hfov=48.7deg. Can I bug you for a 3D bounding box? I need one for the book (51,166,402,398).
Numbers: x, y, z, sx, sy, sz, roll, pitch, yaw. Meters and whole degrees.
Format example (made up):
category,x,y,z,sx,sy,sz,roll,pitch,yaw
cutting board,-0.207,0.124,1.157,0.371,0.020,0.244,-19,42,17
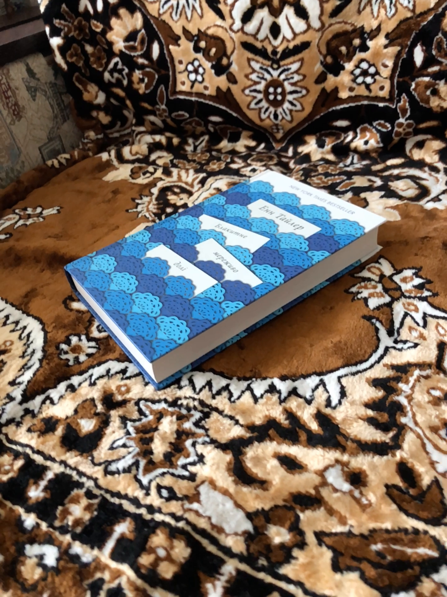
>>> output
category,x,y,z,sx,sy,sz,roll,pitch,yaw
book,0.003,-0.035,0.400,0.233,0.030,0.155,-28,42,-24
